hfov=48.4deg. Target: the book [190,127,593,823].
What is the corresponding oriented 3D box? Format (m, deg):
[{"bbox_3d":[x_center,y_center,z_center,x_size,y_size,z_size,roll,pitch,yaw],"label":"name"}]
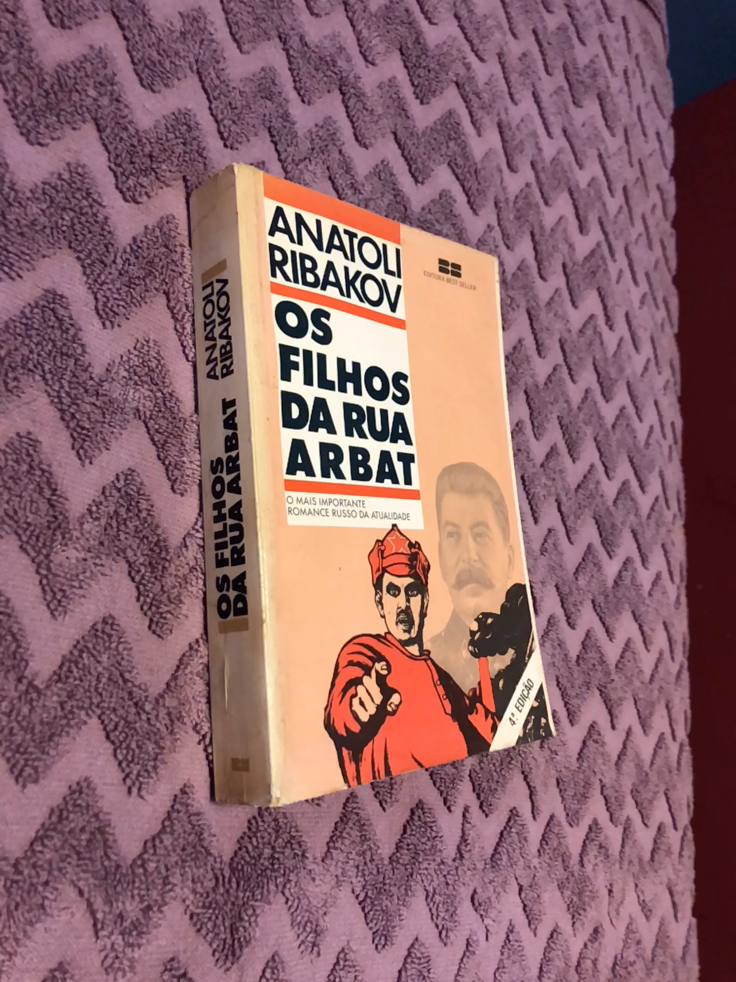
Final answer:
[{"bbox_3d":[0.014,-0.004,0.284,0.141,0.040,0.190,3,80,-44],"label":"book"}]
